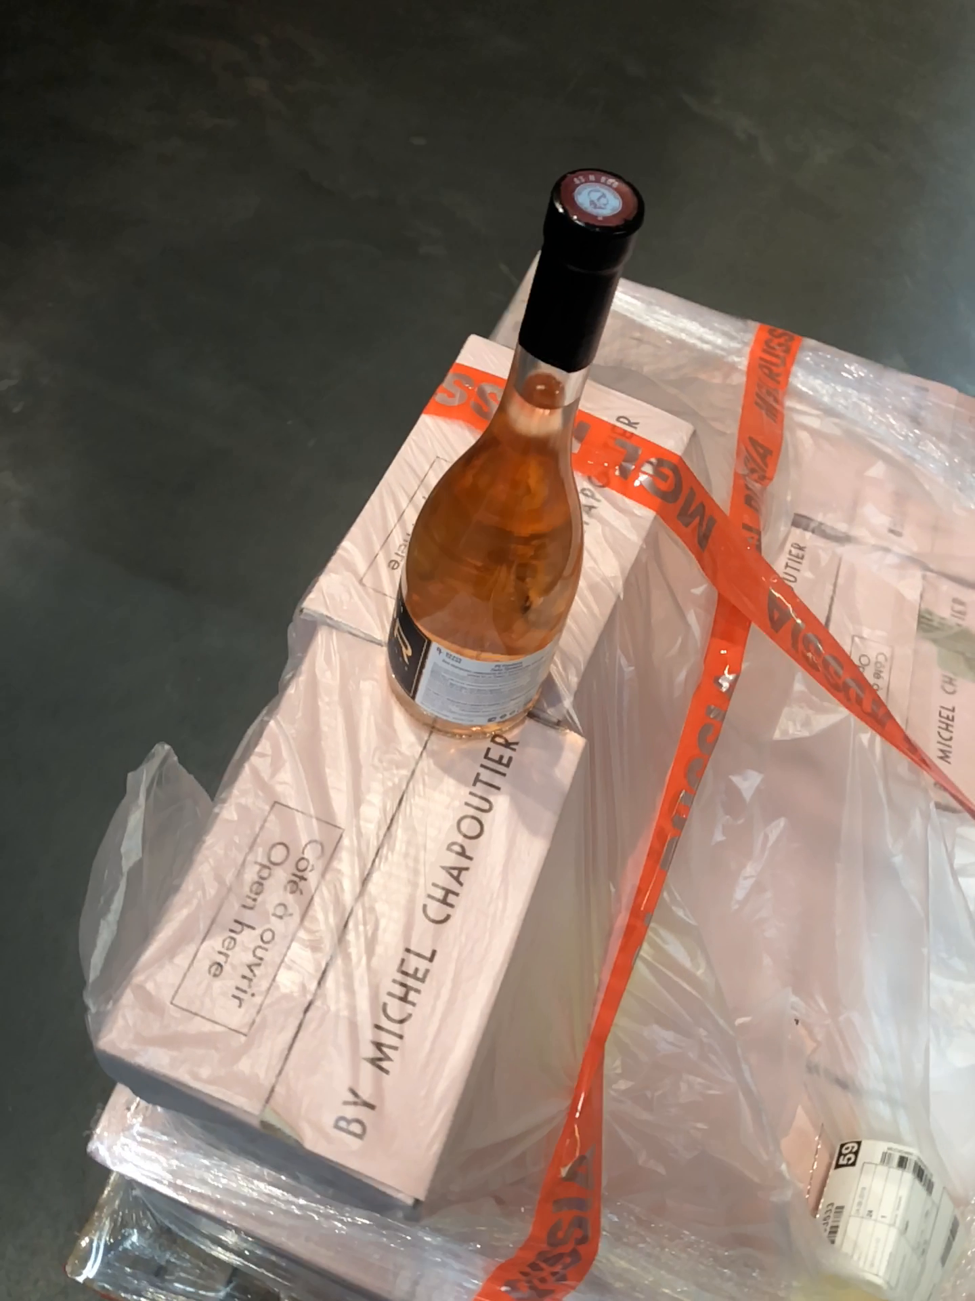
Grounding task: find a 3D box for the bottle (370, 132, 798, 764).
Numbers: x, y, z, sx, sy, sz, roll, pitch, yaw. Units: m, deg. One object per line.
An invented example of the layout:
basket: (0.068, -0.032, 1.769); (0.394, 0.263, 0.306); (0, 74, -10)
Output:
bottle: (0.015, -0.060, 0.457); (0.096, 0.279, 0.100); (4, 61, -7)
